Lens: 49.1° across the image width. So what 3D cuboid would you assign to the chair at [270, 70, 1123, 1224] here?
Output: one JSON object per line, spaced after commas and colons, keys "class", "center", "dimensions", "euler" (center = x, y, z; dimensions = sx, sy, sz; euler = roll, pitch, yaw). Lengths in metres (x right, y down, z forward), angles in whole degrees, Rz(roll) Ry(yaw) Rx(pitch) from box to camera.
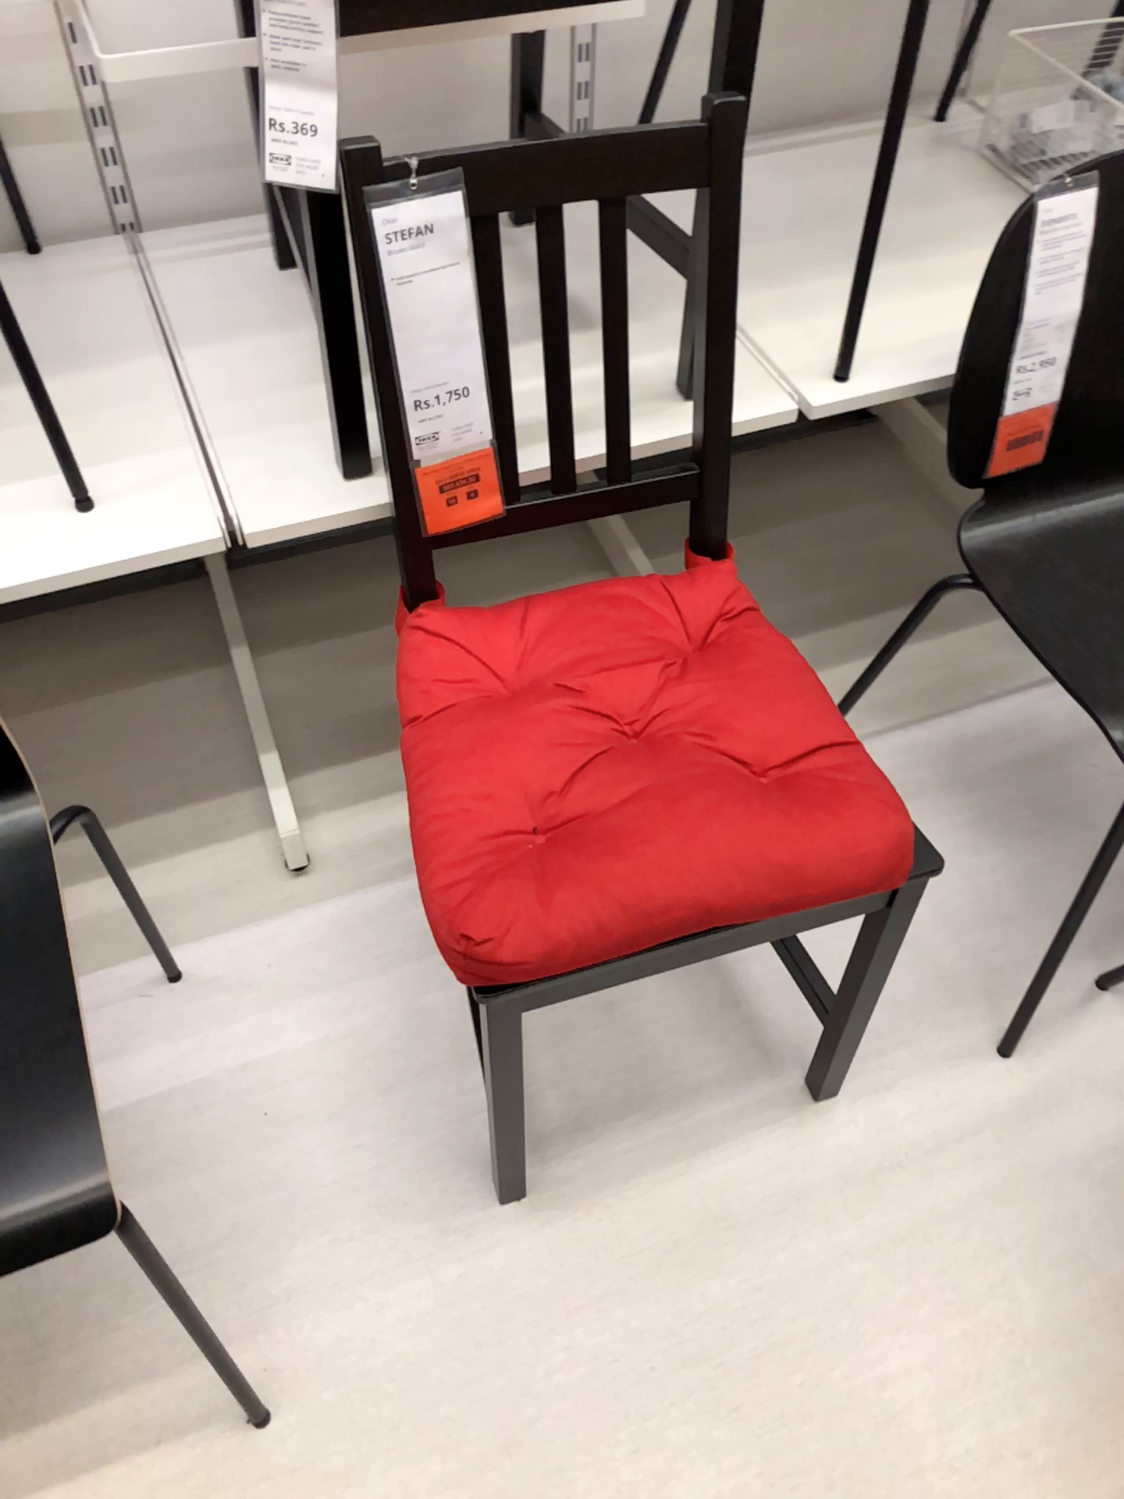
{"class": "chair", "center": [0.069, -0.033, 1.080], "dimensions": [0.430, 0.835, 0.483], "euler": [-14, 51, -13]}
